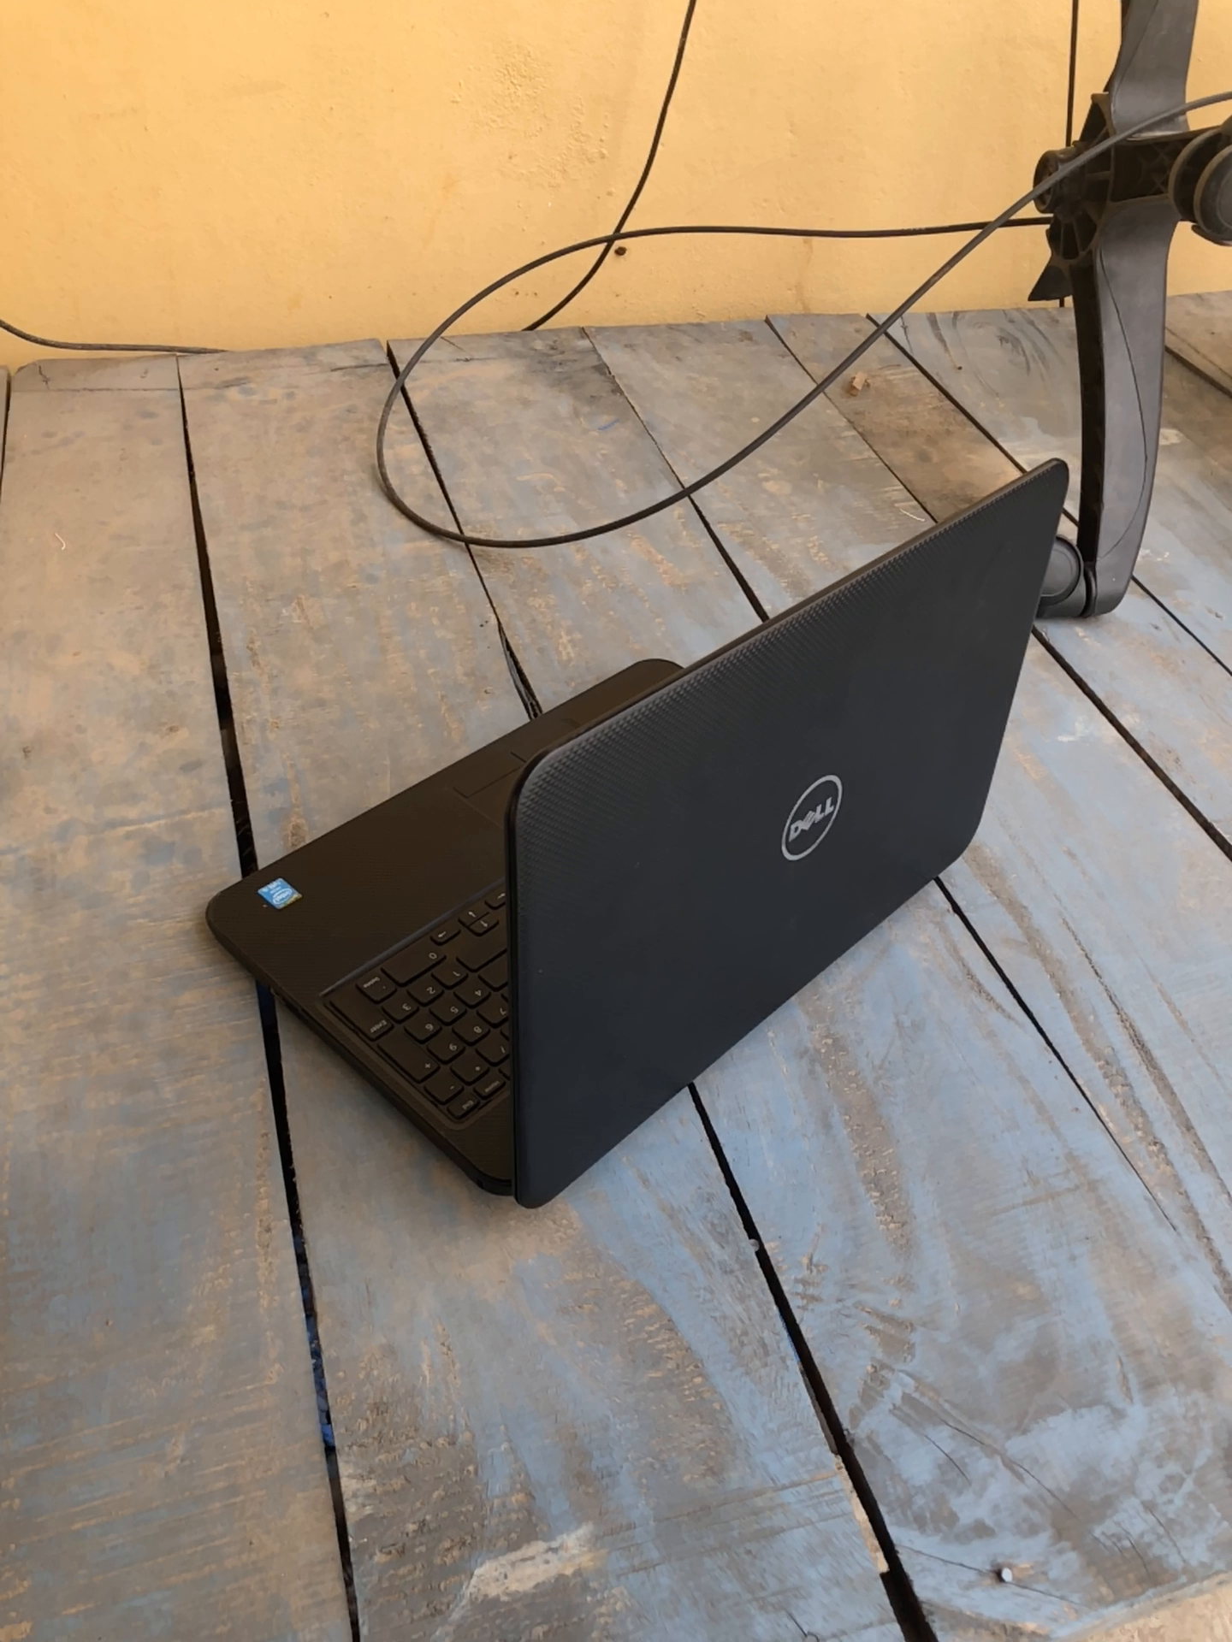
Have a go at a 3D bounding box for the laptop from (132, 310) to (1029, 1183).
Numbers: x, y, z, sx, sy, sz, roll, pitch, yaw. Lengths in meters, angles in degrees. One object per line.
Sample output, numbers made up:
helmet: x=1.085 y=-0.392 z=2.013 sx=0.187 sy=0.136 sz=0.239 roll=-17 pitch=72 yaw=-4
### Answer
laptop: x=-0.006 y=-0.061 z=0.674 sx=0.341 sy=0.234 sz=0.225 roll=-31 pitch=53 yaw=-34
